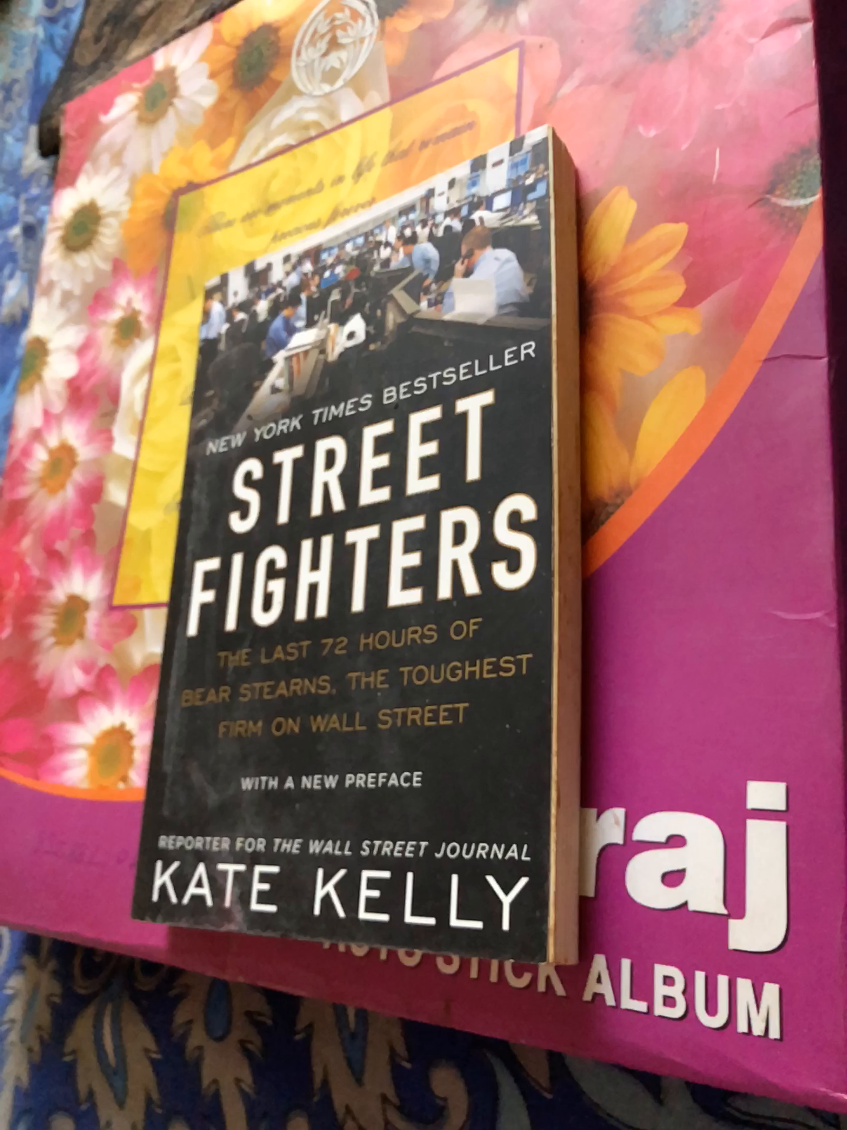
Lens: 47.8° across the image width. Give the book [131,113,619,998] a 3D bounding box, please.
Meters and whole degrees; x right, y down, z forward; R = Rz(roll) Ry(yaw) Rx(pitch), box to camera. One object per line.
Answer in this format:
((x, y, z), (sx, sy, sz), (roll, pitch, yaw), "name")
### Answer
((-0.018, -0.001, 0.272), (0.141, 0.030, 0.210), (-11, 70, 38), "book")
